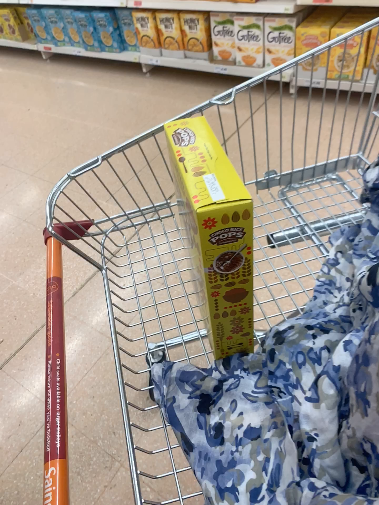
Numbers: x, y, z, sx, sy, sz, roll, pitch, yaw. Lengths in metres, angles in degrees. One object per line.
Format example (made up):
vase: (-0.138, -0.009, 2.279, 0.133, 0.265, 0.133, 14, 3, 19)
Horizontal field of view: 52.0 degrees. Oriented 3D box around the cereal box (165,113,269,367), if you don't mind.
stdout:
cereal box: (0.033, -0.011, 0.518, 0.060, 0.267, 0.202, -13, 45, -6)
